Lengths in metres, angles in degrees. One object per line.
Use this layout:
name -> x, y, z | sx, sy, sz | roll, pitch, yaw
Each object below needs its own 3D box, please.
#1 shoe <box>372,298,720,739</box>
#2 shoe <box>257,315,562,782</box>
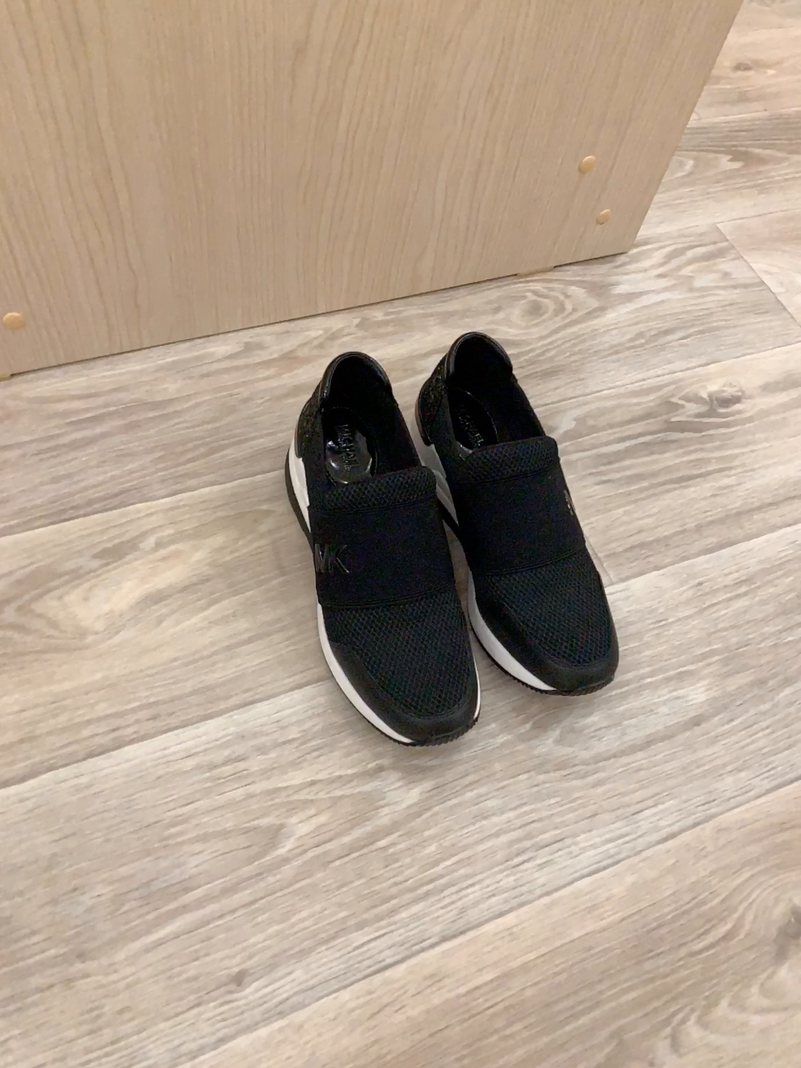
shoe -> 0.078, -0.017, 0.555 | 0.098, 0.120, 0.261 | -15, 62, -17
shoe -> -0.011, 0.003, 0.526 | 0.098, 0.120, 0.261 | -13, 61, -16
